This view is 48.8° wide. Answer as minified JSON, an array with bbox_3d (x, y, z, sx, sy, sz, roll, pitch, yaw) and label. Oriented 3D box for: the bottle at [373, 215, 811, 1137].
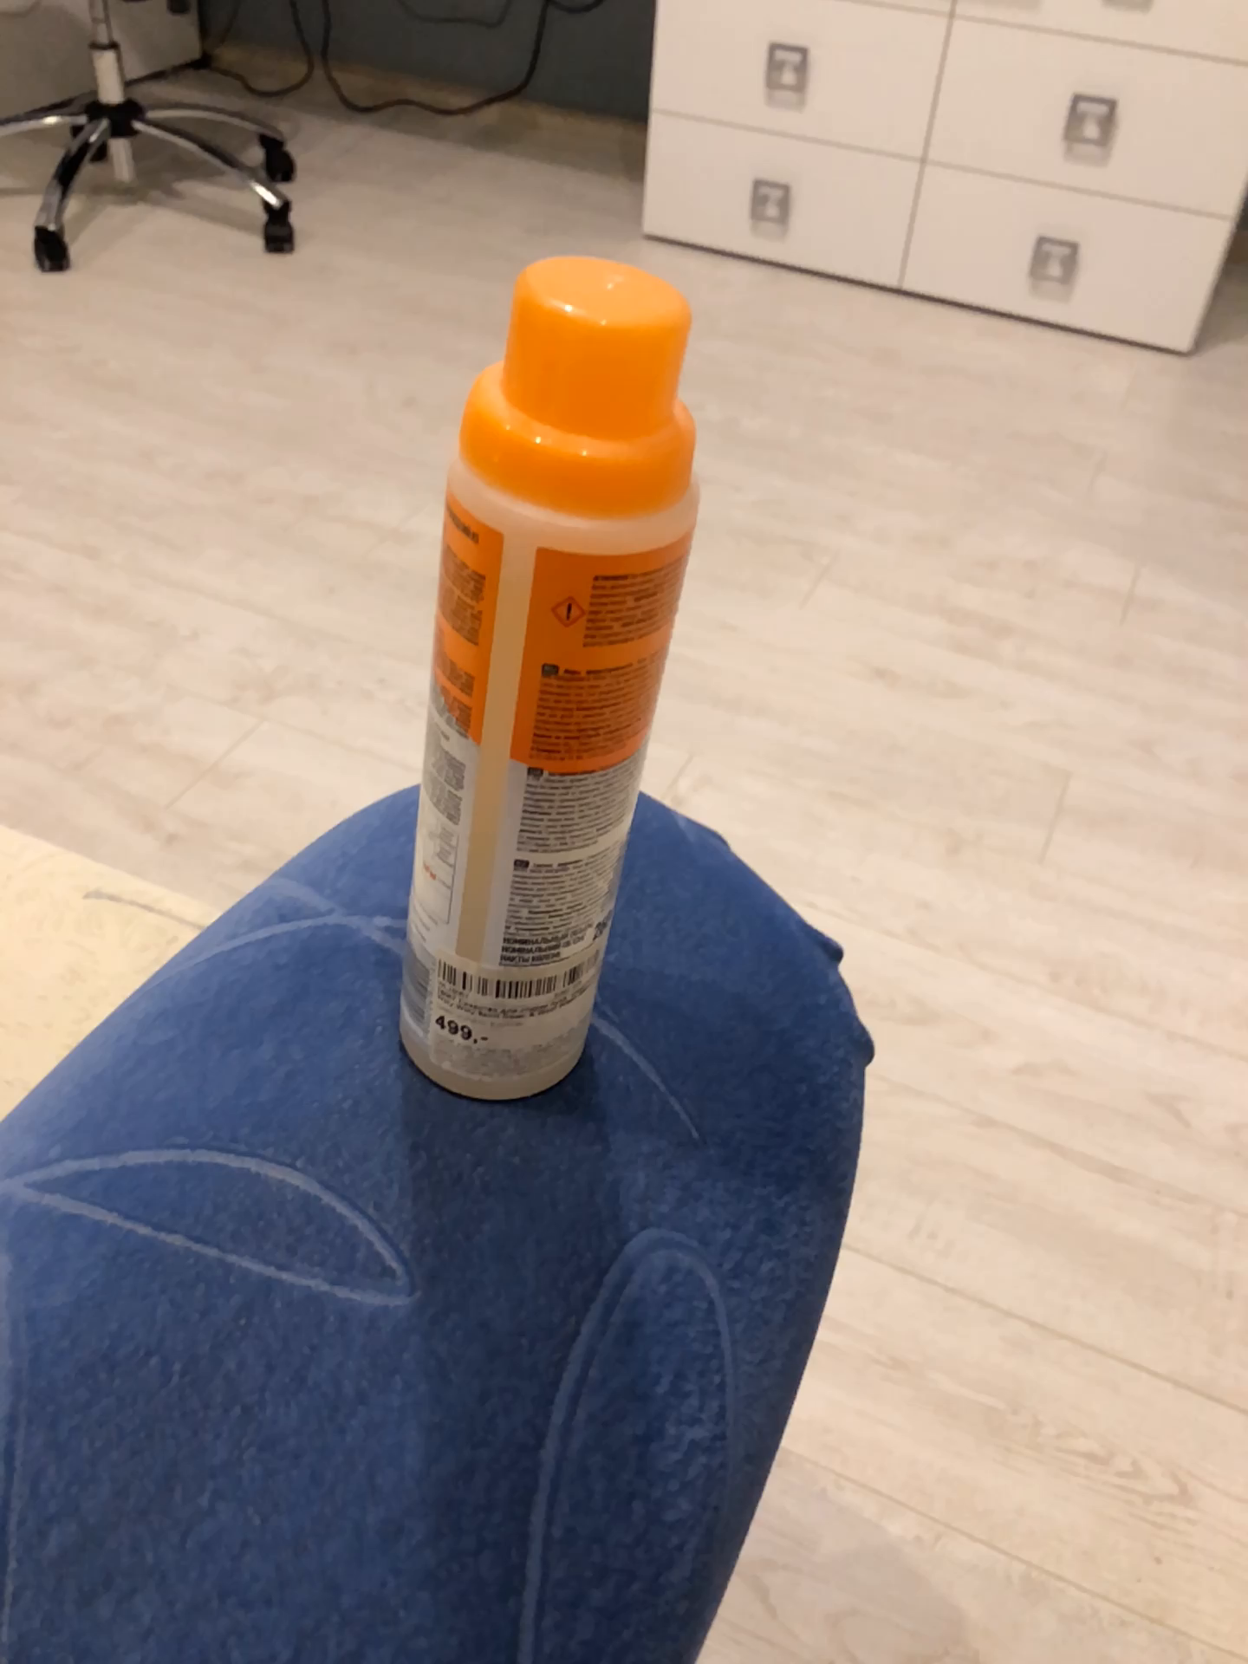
[{"bbox_3d":[-0.013,-0.022,0.295,0.052,0.188,0.052,8,37,-6],"label":"bottle"}]
